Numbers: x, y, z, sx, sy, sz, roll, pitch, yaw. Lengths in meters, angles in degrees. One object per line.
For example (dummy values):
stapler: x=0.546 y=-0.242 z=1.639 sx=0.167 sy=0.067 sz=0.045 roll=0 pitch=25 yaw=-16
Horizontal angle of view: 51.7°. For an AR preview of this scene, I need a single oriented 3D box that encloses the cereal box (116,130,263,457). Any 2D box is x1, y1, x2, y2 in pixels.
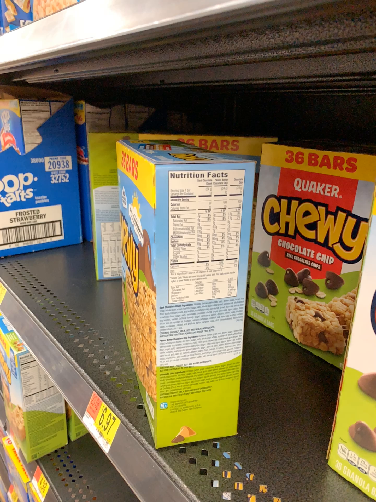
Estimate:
cereal box: x=-0.018 y=0.014 z=0.360 sx=0.070 sy=0.229 sz=0.201 roll=-3 pitch=20 yaw=-16
